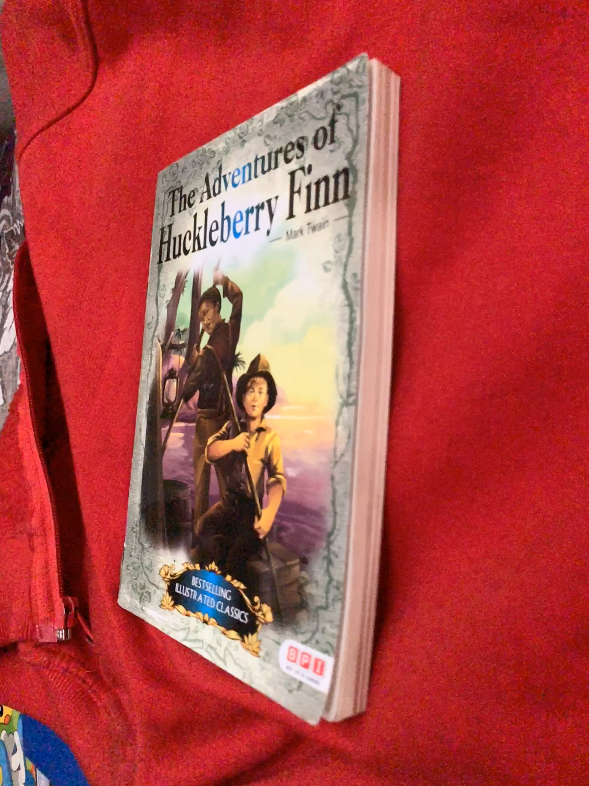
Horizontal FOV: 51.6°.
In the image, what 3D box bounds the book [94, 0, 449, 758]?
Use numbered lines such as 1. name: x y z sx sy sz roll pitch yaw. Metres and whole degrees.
1. book: -0.017 -0.007 0.198 0.131 0.020 0.180 -1 83 48
